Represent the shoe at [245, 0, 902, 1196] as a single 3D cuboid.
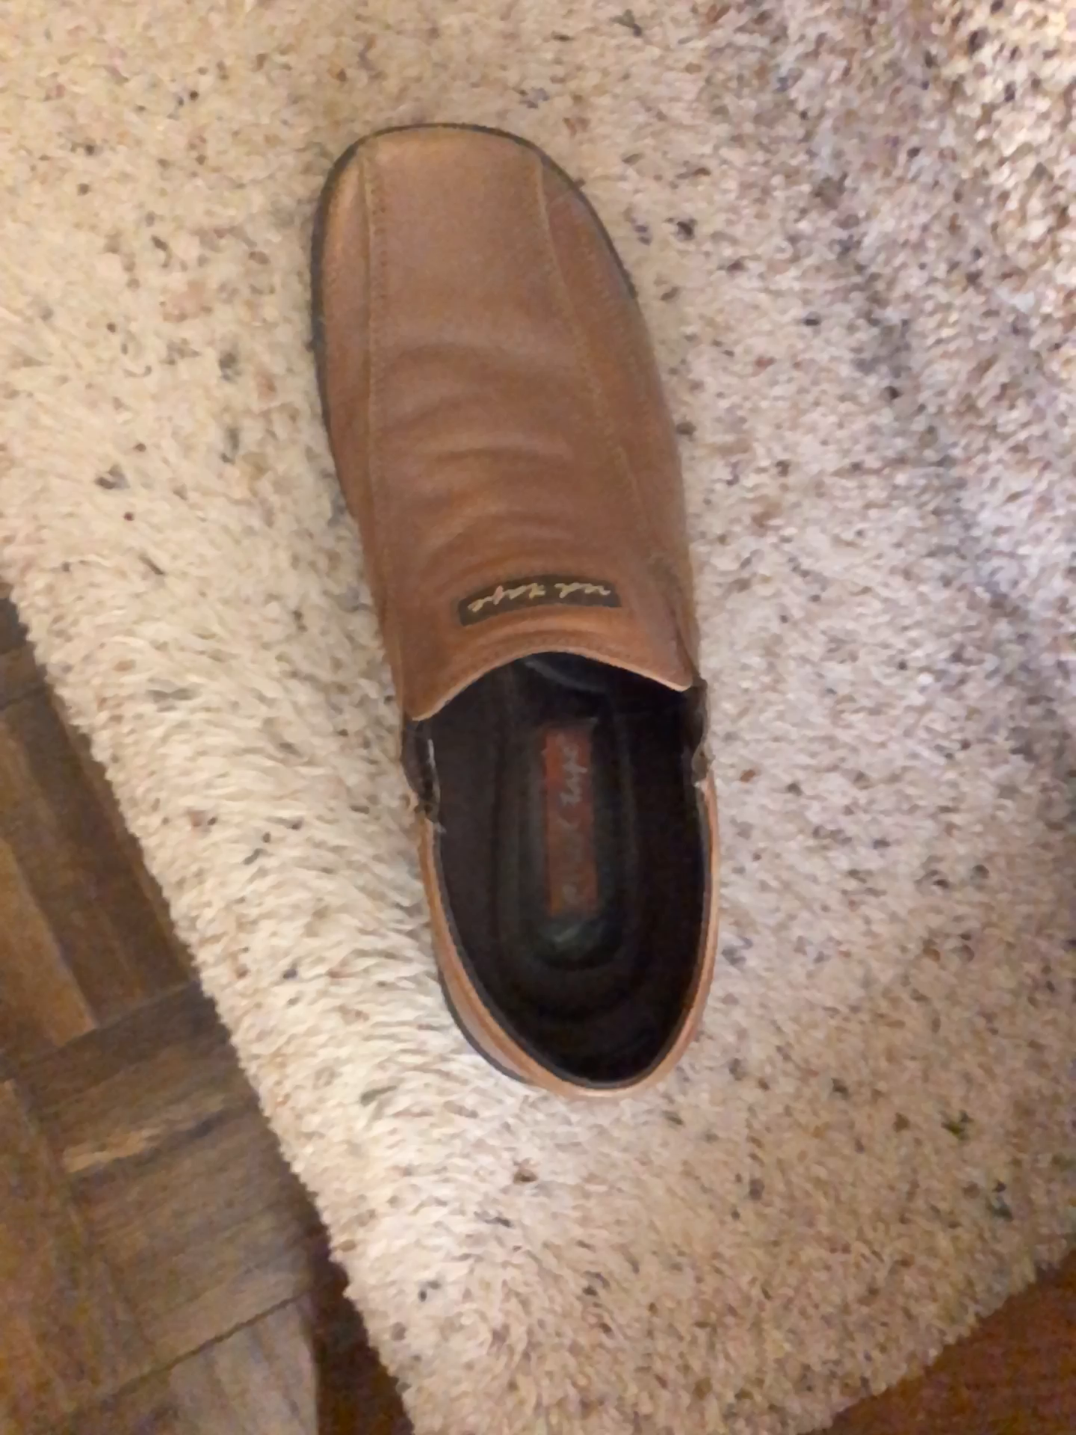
[{"bbox_3d":[0.000,-0.044,0.333,0.110,0.120,0.290,-9,91,-11],"label":"shoe"}]
